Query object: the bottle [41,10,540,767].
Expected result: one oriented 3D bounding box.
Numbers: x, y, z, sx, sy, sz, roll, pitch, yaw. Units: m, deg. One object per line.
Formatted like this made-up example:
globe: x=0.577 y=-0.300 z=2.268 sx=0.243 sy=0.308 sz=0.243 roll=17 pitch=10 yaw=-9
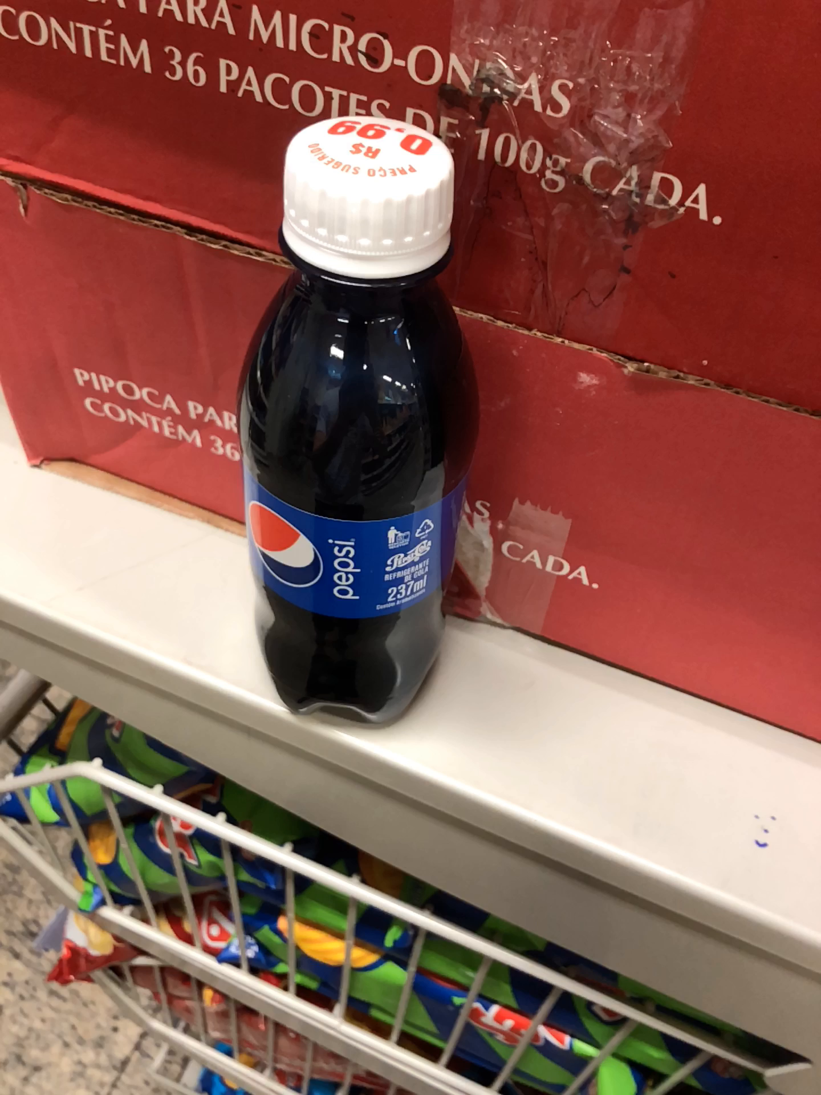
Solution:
bottle: x=-0.018 y=-0.023 z=0.205 sx=0.060 sy=0.149 sz=0.060 roll=1 pitch=48 yaw=-1
